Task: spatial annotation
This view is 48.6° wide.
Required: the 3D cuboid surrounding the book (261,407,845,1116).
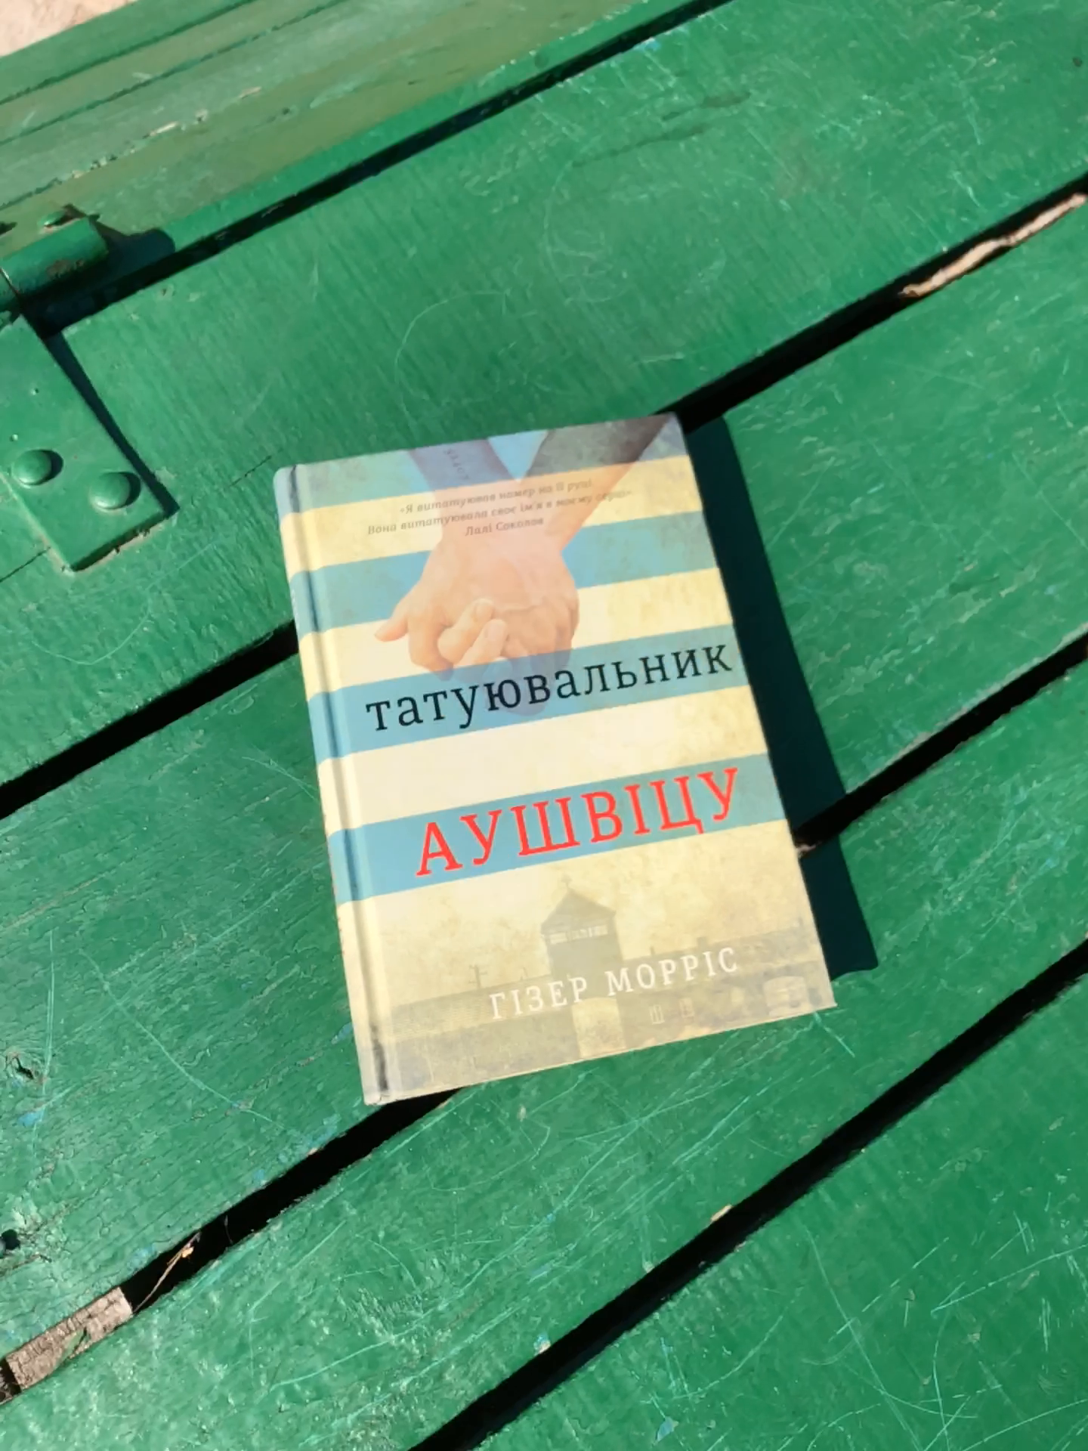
[{"bbox_3d":[-0.003,0.002,0.393,0.147,0.020,0.213,-10,72,-8],"label":"book"}]
